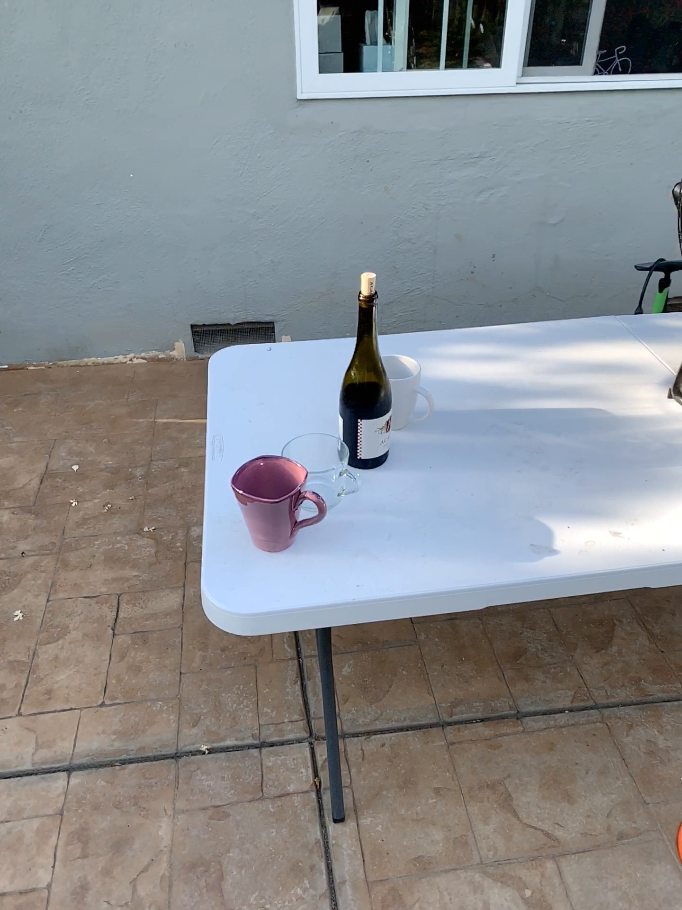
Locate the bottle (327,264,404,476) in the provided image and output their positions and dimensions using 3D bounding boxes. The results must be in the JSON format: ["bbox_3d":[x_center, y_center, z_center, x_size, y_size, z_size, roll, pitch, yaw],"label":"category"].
[{"bbox_3d":[0.037,-0.122,1.065,0.090,0.308,0.080,9,36,14],"label":"bottle"}]
